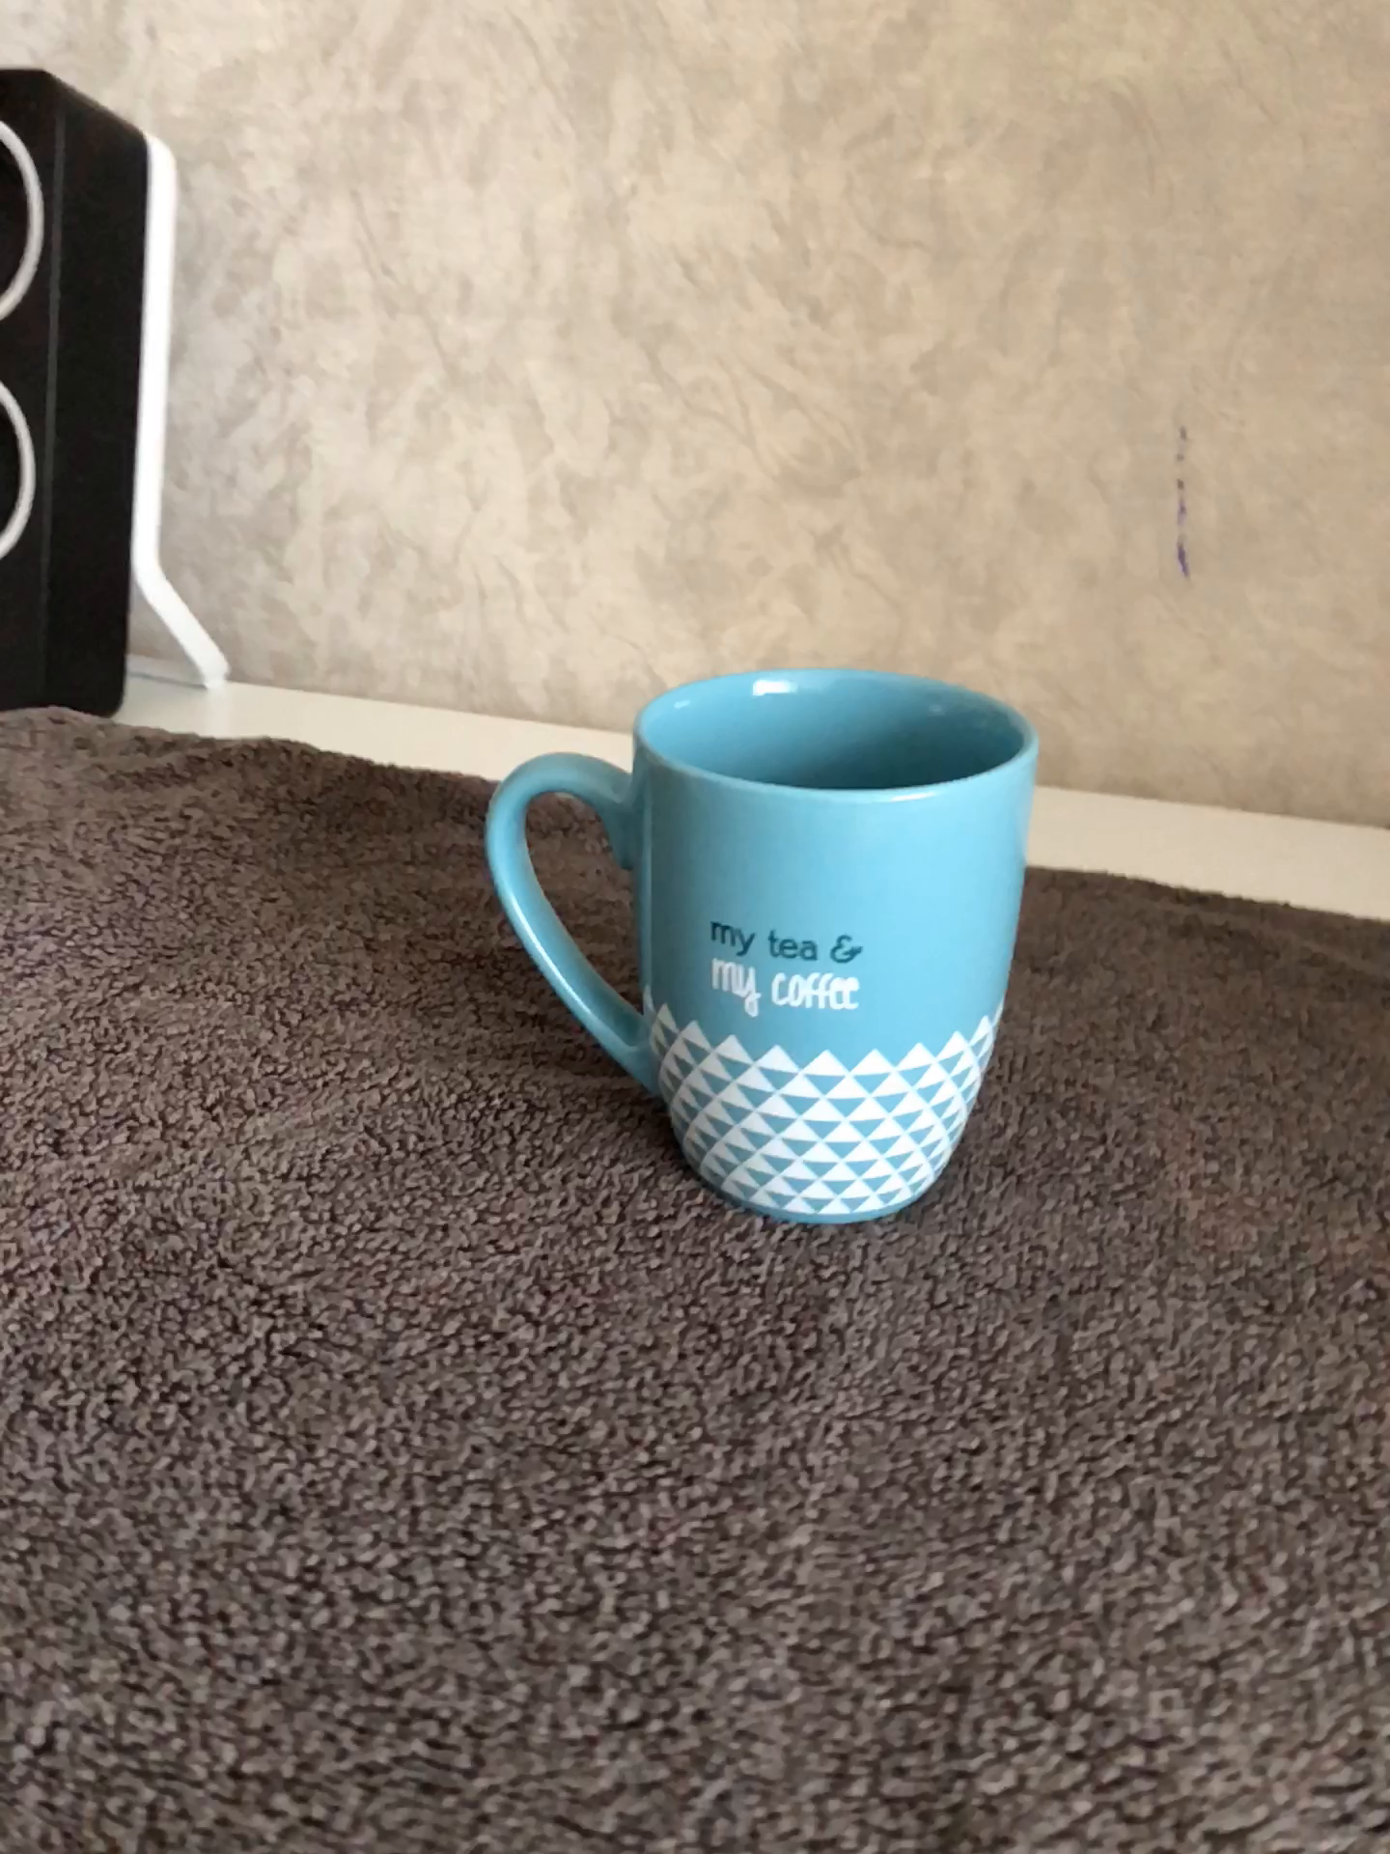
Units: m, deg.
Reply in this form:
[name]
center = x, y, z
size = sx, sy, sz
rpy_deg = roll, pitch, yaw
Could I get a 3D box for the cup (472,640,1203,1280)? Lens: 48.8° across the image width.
[cup]
center = 0.029, 0.000, 0.319
size = 0.126, 0.090, 0.087
rpy_deg = 7, 25, 10
